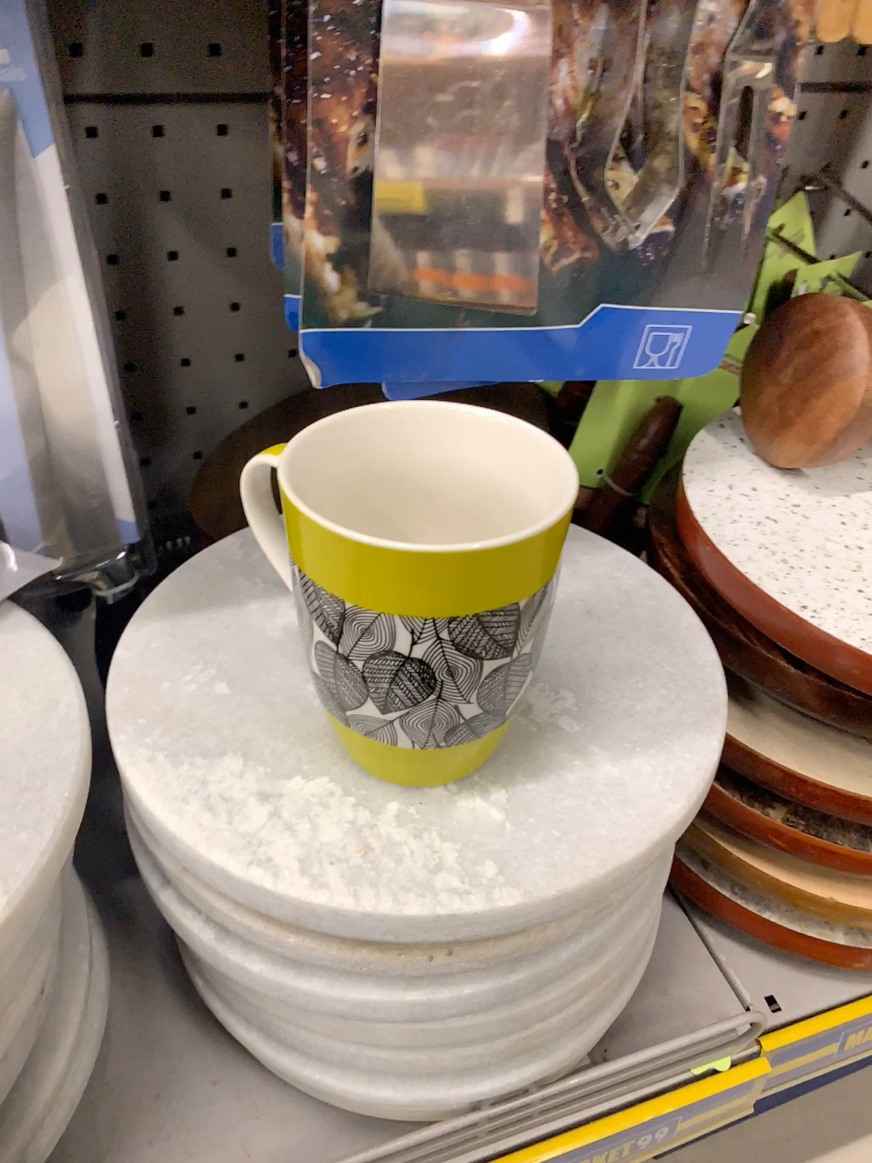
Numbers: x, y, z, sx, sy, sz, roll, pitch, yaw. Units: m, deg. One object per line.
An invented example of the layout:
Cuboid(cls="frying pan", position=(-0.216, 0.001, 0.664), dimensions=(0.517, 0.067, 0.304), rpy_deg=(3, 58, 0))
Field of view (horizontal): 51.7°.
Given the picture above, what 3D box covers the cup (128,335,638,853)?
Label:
Cuboid(cls="cup", position=(-0.016, -0.003, 0.267), dimensions=(0.110, 0.090, 0.080), rpy_deg=(27, 43, 27))
